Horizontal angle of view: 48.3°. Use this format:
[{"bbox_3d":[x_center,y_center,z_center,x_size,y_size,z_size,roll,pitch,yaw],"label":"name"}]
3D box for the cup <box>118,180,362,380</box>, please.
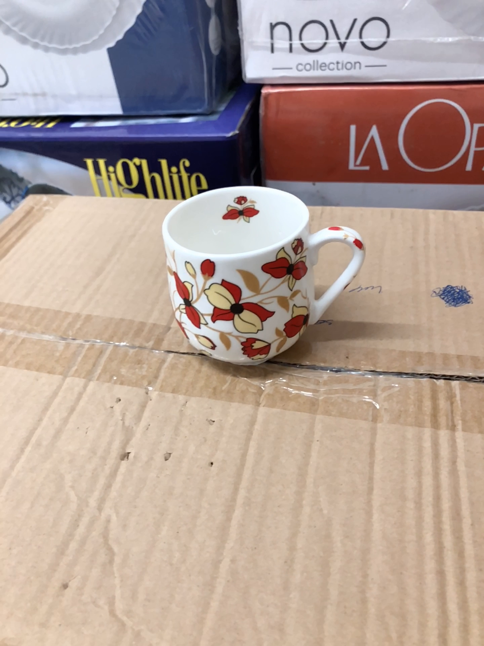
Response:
[{"bbox_3d":[0.004,-0.022,0.243,0.090,0.060,0.060,5,40,13],"label":"cup"}]
